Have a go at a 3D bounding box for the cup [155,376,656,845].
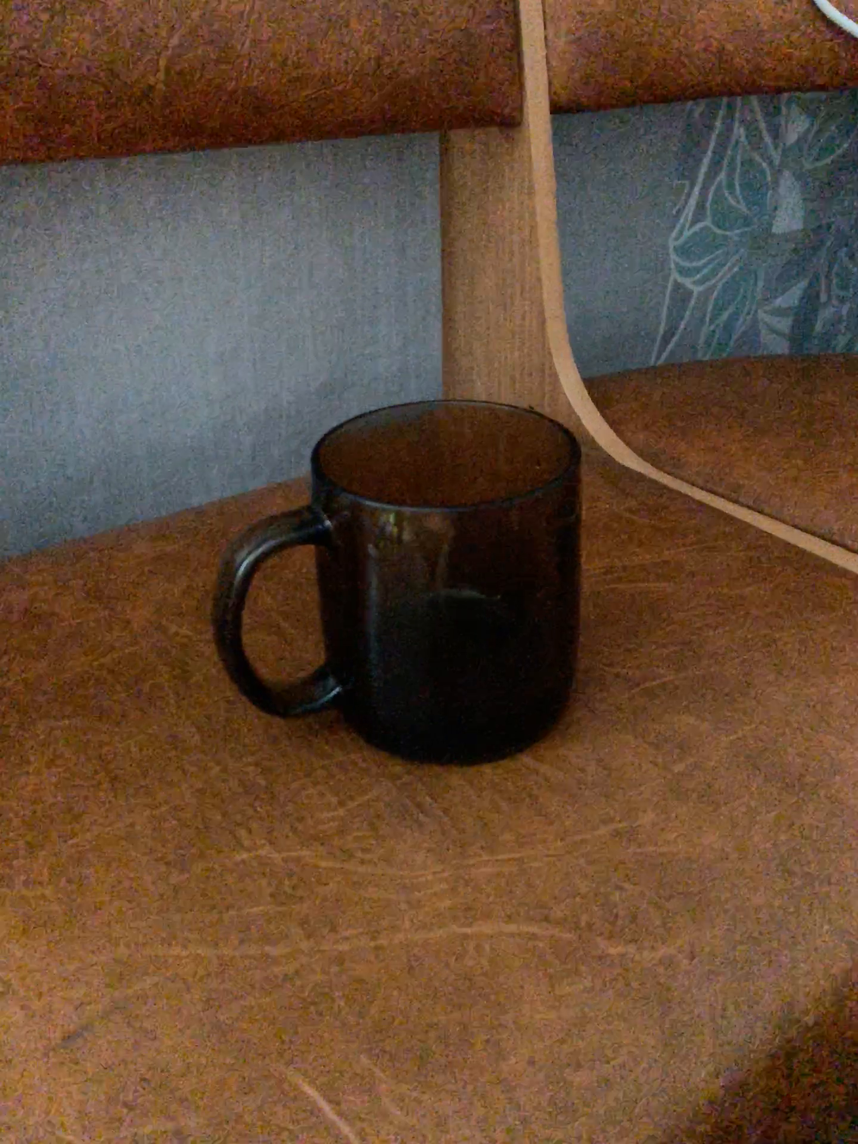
[{"bbox_3d":[-0.008,0.003,0.272,0.120,0.089,0.081,-15,32,-22],"label":"cup"}]
